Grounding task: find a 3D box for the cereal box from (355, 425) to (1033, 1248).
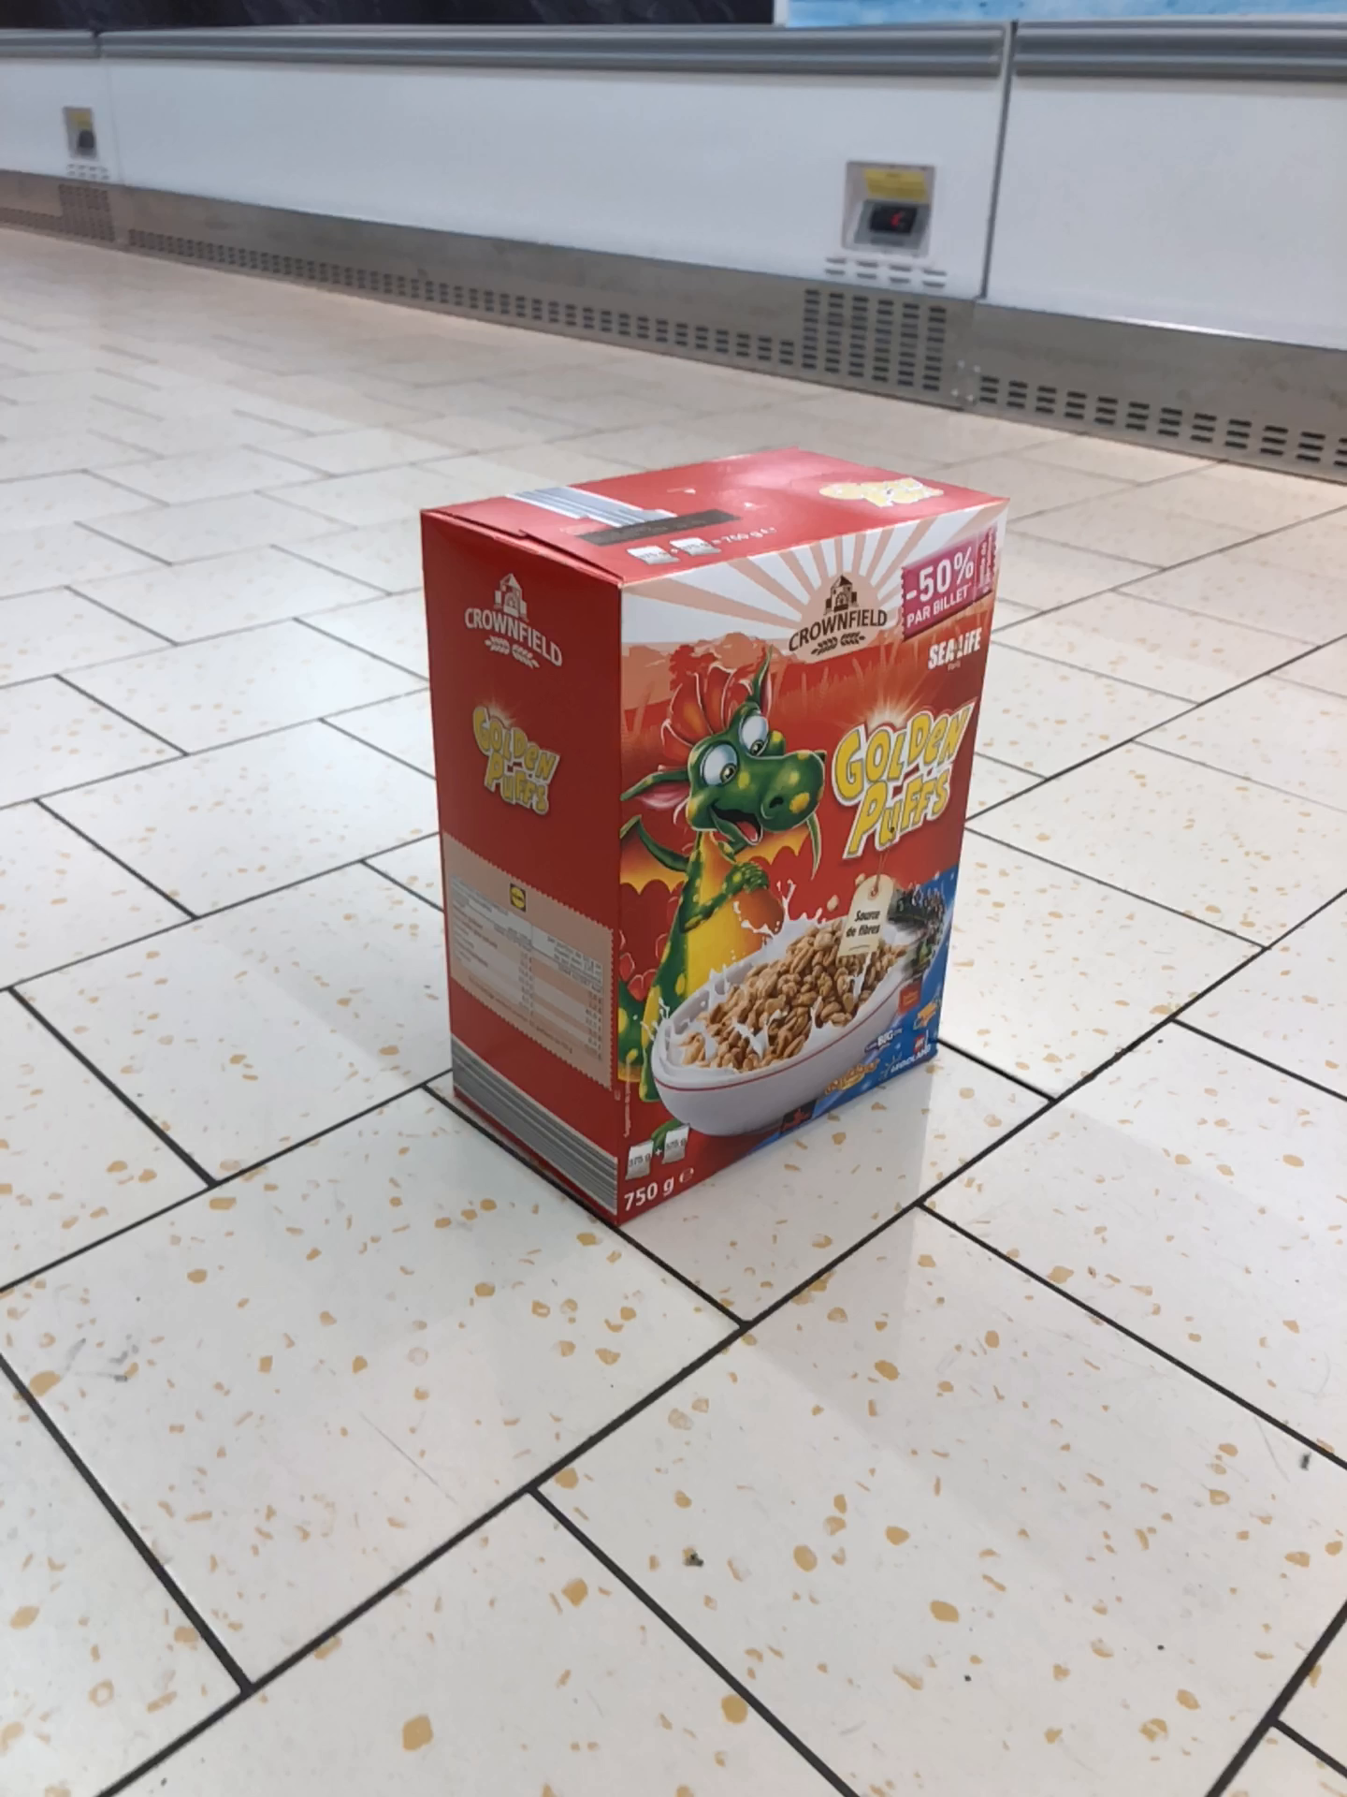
[{"bbox_3d":[0.007,-0.038,0.588,0.201,0.249,0.140,-21,35,-36],"label":"cereal box"}]
